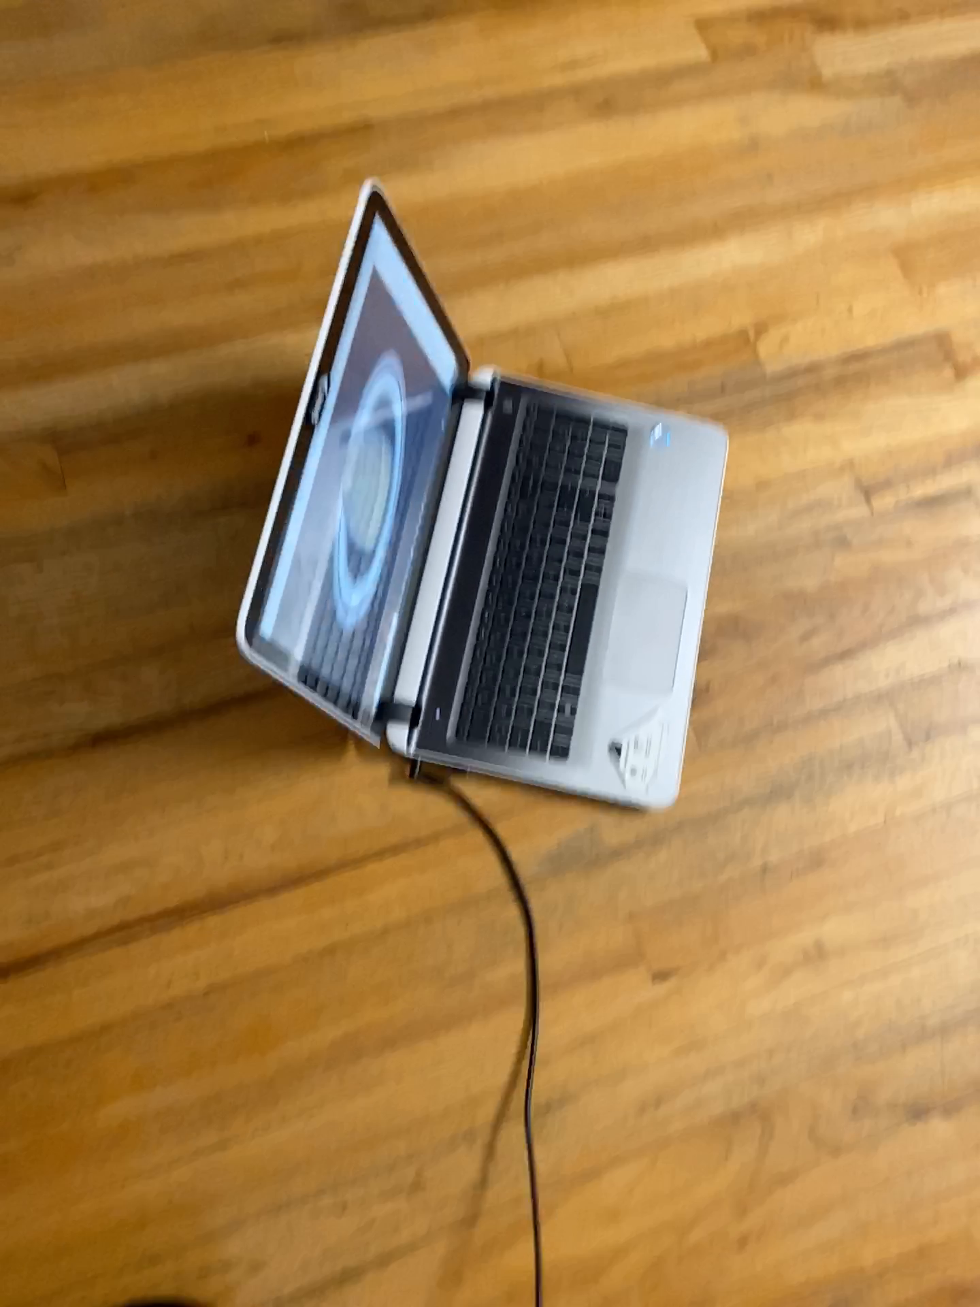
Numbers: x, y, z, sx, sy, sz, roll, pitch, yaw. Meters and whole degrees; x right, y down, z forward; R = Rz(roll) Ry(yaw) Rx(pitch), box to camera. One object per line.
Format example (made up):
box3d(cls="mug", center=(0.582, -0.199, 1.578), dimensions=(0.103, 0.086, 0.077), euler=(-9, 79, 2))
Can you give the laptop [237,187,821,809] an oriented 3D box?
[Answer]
box3d(cls="laptop", center=(0.038, -0.111, 0.810), dimensions=(0.363, 0.202, 0.371), euler=(13, 71, -4))
